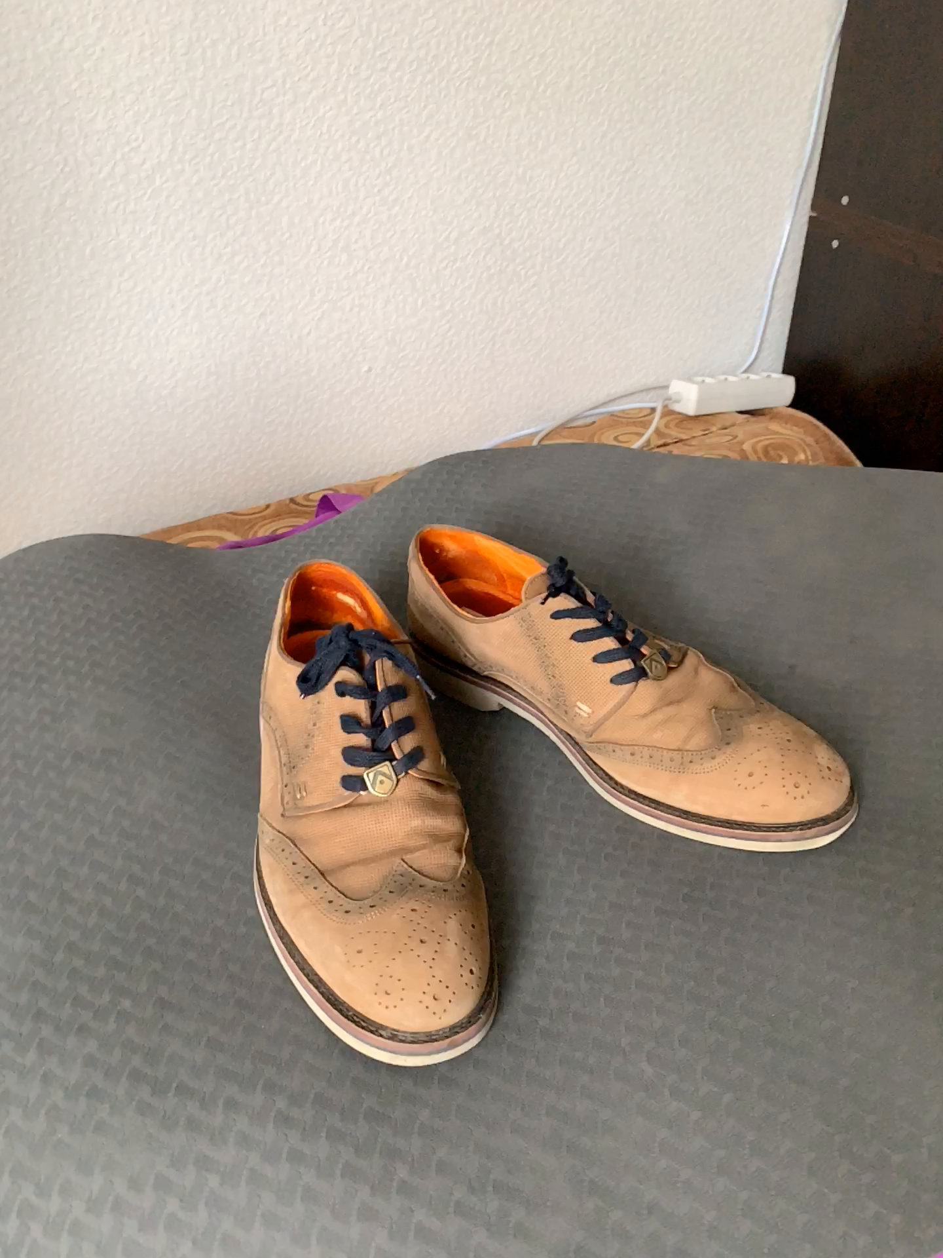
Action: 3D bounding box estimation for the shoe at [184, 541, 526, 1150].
[{"bbox_3d":[-0.074,0.079,0.495,0.110,0.090,0.302,-12,38,-12],"label":"shoe"}]

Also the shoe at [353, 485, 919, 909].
[{"bbox_3d":[0.079,0.021,0.554,0.291,0.090,0.110,25,45,31],"label":"shoe"}]
